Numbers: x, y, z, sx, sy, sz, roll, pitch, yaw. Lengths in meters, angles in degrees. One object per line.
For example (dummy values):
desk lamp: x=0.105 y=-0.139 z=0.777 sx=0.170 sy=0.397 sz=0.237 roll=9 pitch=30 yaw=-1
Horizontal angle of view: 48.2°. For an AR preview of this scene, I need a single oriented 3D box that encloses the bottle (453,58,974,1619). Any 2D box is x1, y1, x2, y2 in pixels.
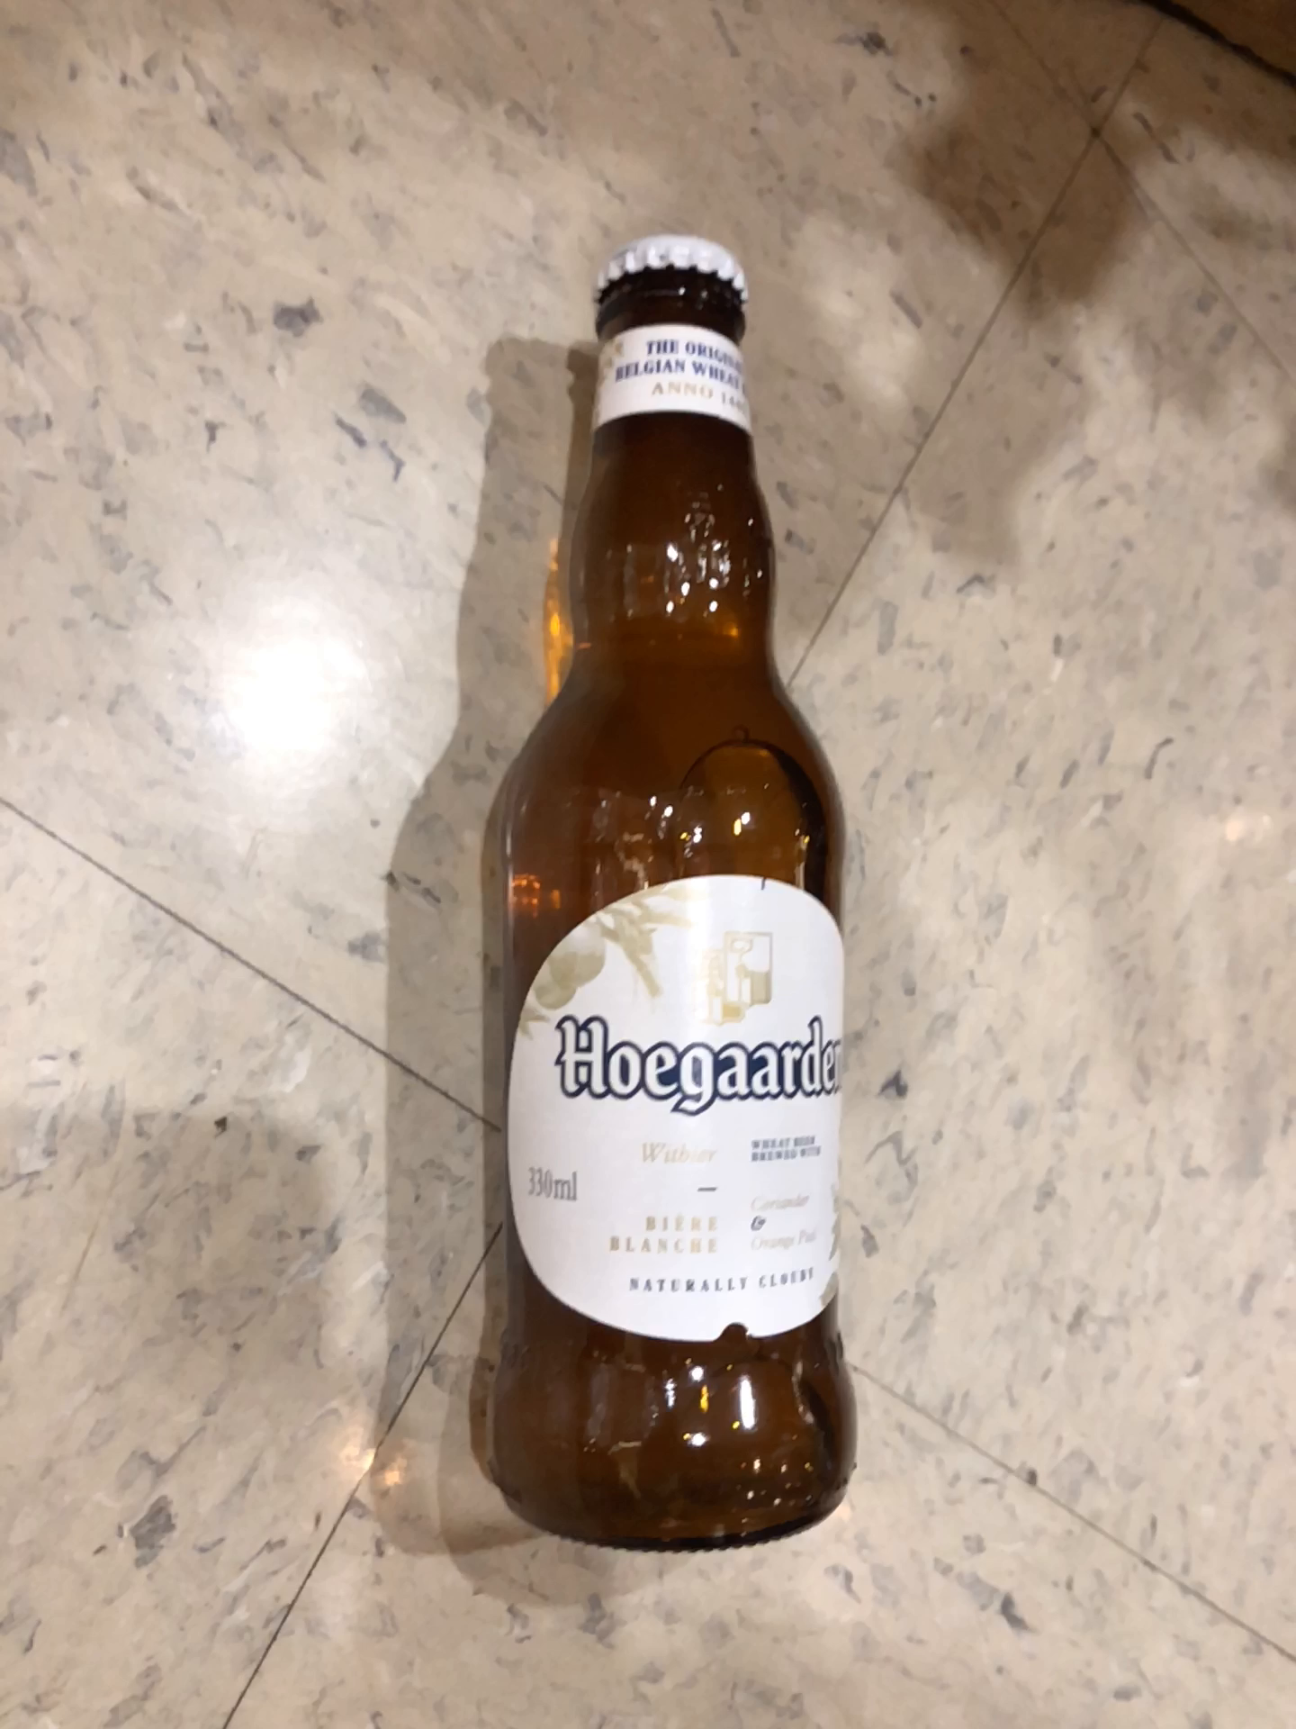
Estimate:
bottle: x=0.010 y=-0.006 z=0.251 sx=0.070 sy=0.050 sz=0.230 roll=3 pitch=83 yaw=-30
